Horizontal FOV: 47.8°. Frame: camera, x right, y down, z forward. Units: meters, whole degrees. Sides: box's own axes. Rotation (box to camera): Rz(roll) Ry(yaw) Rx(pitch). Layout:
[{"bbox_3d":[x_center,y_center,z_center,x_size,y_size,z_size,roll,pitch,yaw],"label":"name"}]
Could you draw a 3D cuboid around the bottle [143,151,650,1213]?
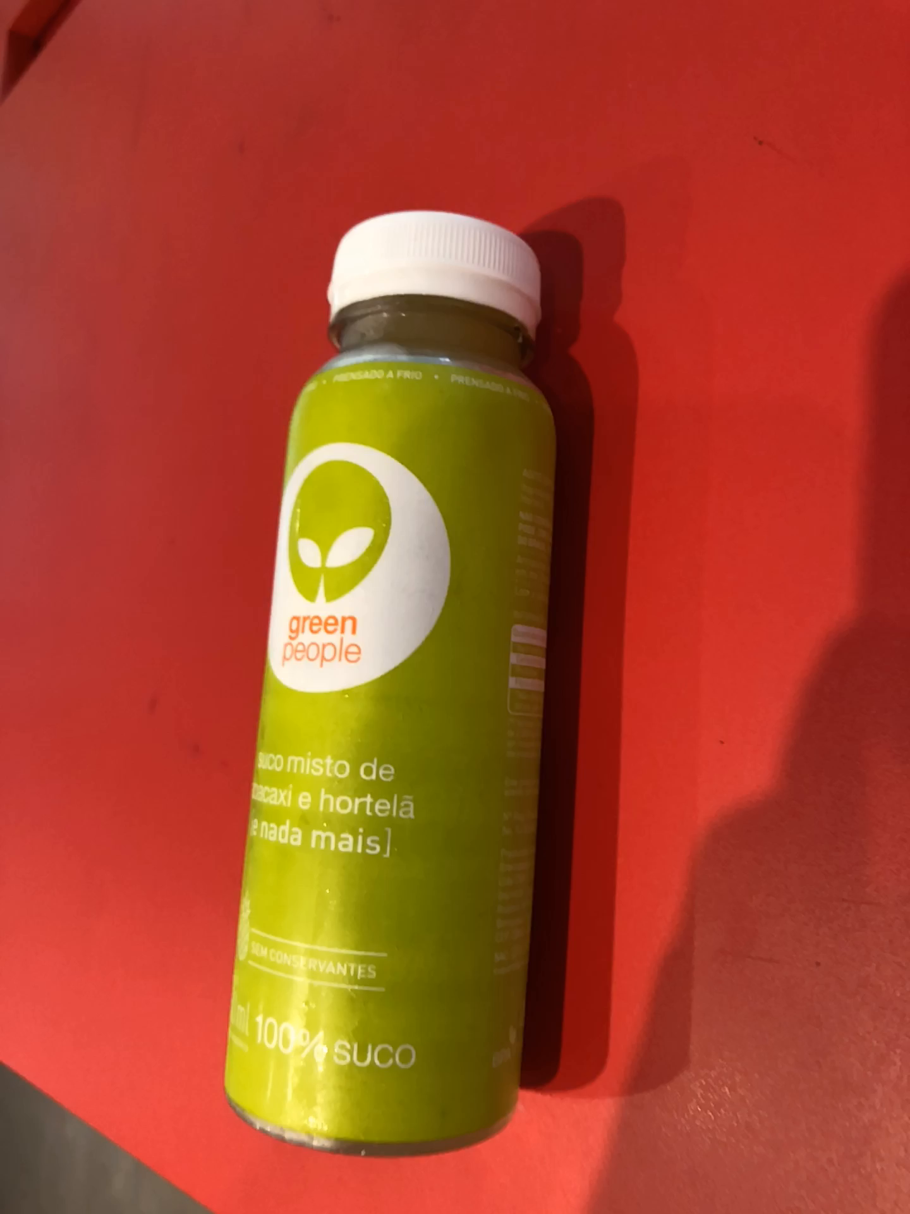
[{"bbox_3d":[-0.010,0.021,0.181,0.060,0.050,0.170,4,90,35],"label":"bottle"}]
